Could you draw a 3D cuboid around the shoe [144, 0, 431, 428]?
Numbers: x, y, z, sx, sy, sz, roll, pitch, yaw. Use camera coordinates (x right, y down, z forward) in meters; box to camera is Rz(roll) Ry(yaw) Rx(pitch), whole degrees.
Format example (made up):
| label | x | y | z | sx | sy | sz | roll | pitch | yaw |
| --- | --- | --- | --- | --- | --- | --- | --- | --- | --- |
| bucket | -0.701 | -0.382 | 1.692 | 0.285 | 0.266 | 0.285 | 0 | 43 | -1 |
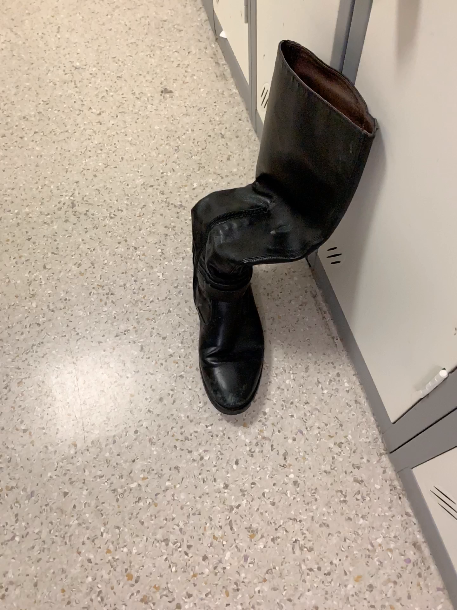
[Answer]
| label | x | y | z | sx | sy | sz | roll | pitch | yaw |
| --- | --- | --- | --- | --- | --- | --- | --- | --- | --- |
| shoe | 0.027 | -0.074 | 0.502 | 0.167 | 0.331 | 0.315 | -6 | 62 | -2 |
